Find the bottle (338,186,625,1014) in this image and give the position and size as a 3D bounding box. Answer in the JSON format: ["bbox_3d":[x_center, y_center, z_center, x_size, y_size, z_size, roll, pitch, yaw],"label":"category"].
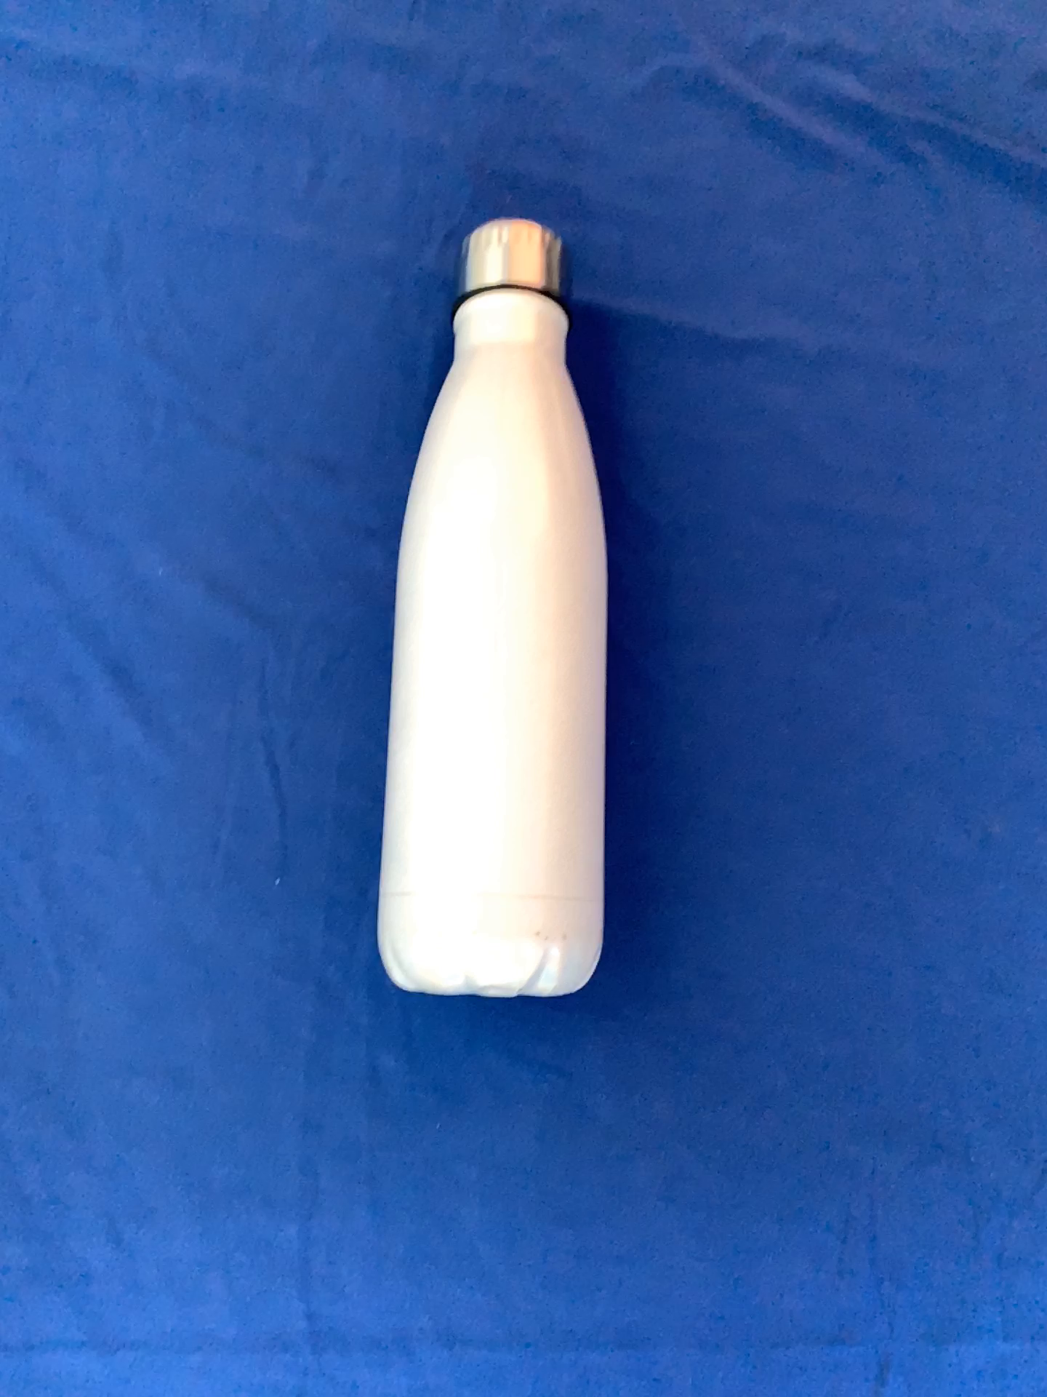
[{"bbox_3d":[-0.010,-0.035,0.351,0.080,0.050,0.260,1,78,0],"label":"bottle"}]
